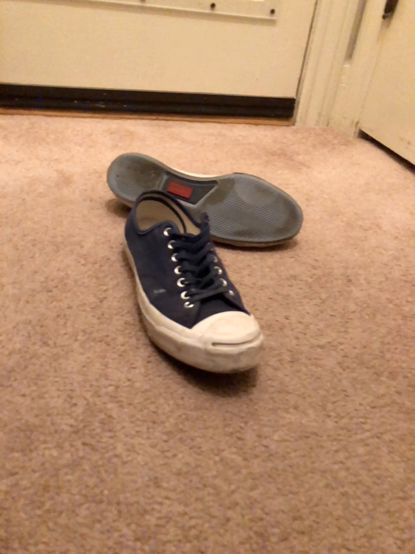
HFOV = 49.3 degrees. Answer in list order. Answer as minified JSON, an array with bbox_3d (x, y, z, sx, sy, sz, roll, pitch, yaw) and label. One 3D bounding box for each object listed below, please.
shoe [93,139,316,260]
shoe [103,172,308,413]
[{"bbox_3d":[-0.003,-0.113,0.673,0.296,0.104,0.099,14,7,7],"label":"shoe"},{"bbox_3d":[-0.026,-0.010,0.498,0.116,0.098,0.287,-8,37,-22],"label":"shoe"}]
